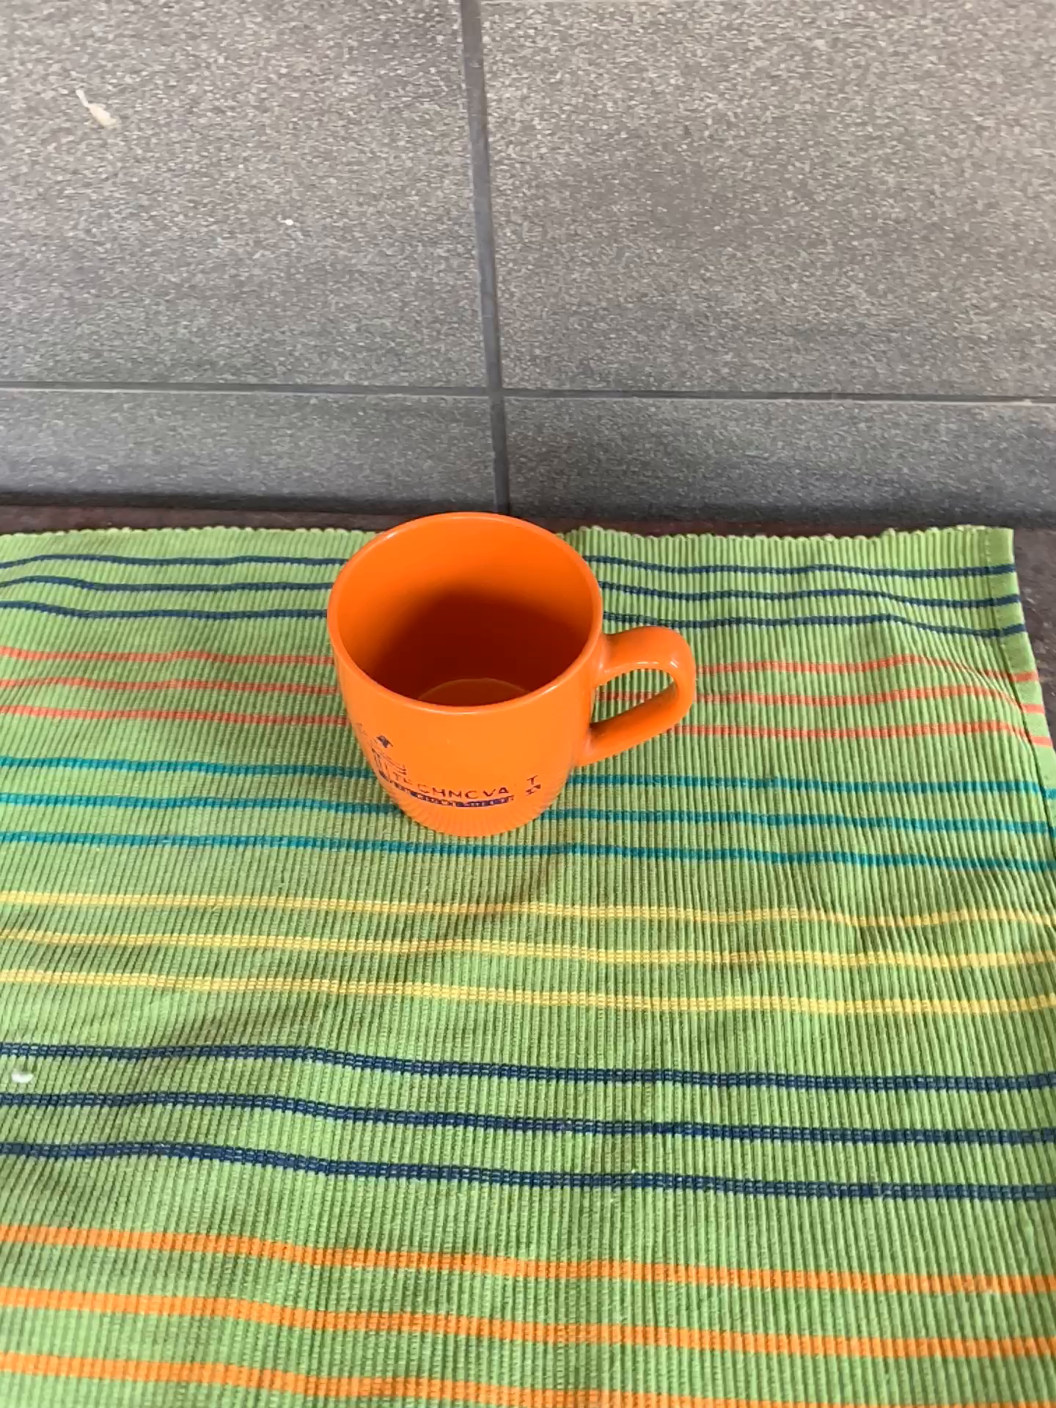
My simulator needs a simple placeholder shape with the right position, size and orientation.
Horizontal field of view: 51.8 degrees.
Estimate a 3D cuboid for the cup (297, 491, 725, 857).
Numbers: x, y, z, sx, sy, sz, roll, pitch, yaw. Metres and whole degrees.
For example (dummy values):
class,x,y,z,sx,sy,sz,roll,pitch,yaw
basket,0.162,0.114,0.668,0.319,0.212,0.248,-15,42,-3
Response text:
class,x,y,z,sx,sy,sz,roll,pitch,yaw
cup,-0.002,-0.010,0.364,0.120,0.080,0.090,1,50,3
